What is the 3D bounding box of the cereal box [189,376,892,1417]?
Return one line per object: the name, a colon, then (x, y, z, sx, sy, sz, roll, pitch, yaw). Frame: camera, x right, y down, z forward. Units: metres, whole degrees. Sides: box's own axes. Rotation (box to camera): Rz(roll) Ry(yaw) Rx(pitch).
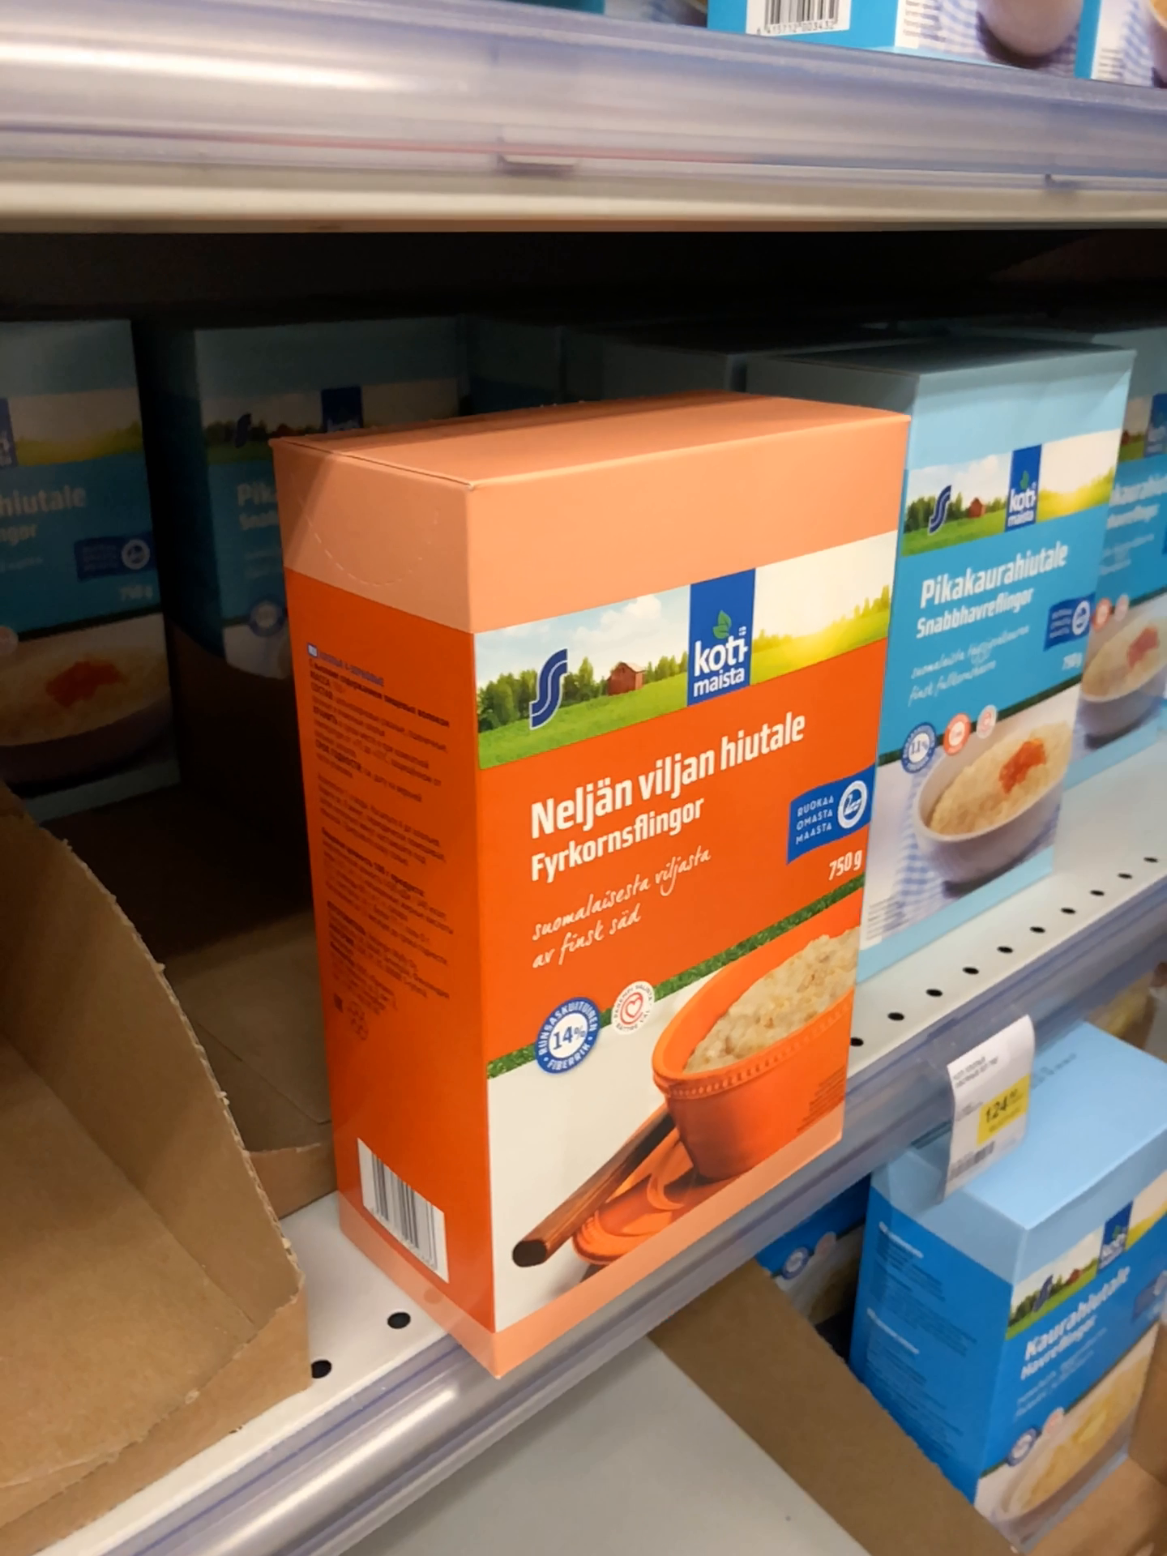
cereal box: (-0.003, 0.019, 0.349, 0.150, 0.229, 0.080, -19, 28, -38)
